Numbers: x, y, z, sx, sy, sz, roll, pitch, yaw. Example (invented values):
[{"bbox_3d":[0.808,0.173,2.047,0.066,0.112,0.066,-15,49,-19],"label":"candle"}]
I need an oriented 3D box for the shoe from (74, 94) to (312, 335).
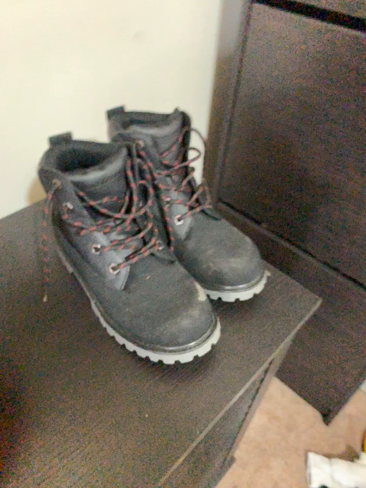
[{"bbox_3d":[-0.002,-0.043,0.436,0.231,0.159,0.101,34,51,29],"label":"shoe"}]

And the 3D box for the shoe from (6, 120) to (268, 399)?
[{"bbox_3d":[-0.051,0.005,0.379,0.221,0.159,0.101,34,51,29],"label":"shoe"}]
